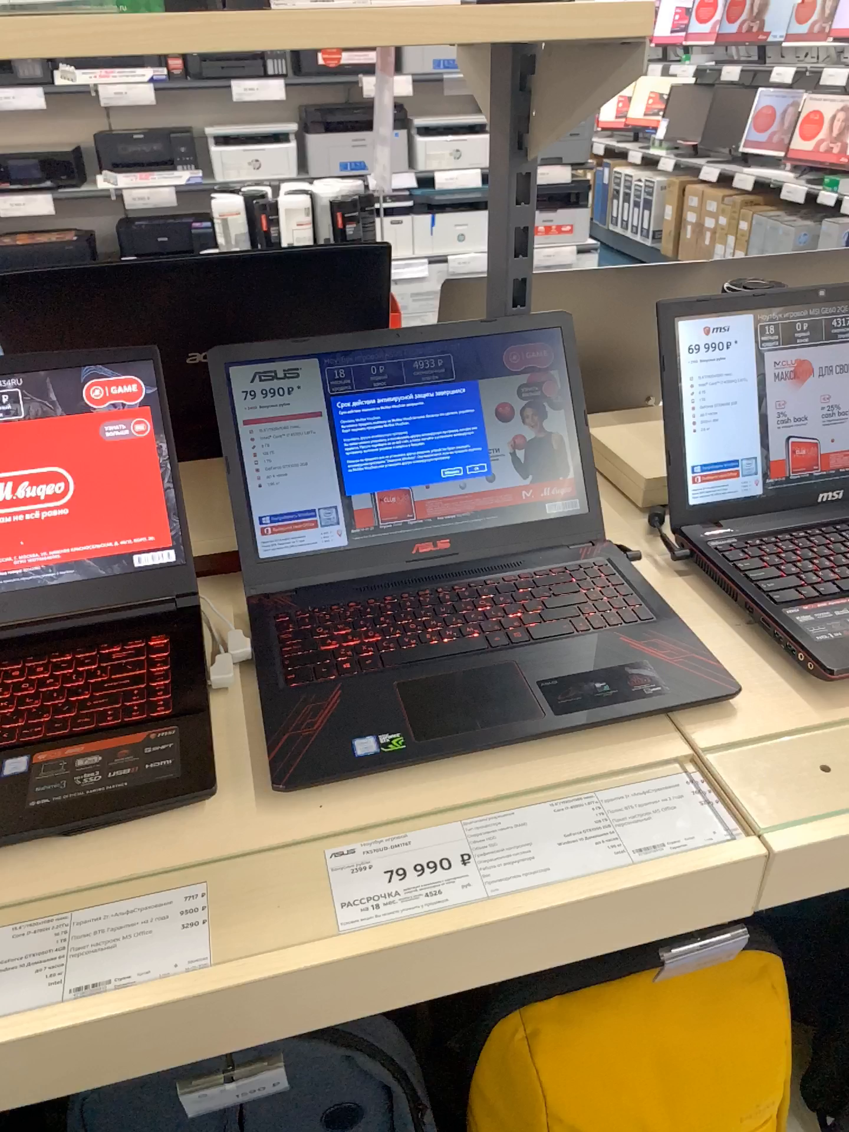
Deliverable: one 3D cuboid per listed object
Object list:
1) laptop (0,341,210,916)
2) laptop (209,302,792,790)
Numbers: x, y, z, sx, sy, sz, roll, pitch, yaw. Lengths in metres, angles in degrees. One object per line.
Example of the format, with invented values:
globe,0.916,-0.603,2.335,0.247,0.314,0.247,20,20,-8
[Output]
laptop,-0.356,0.002,0.657,0.338,0.209,0.354,-9,32,-13
laptop,0.022,-0.058,0.750,0.365,0.199,0.384,-9,32,-11
